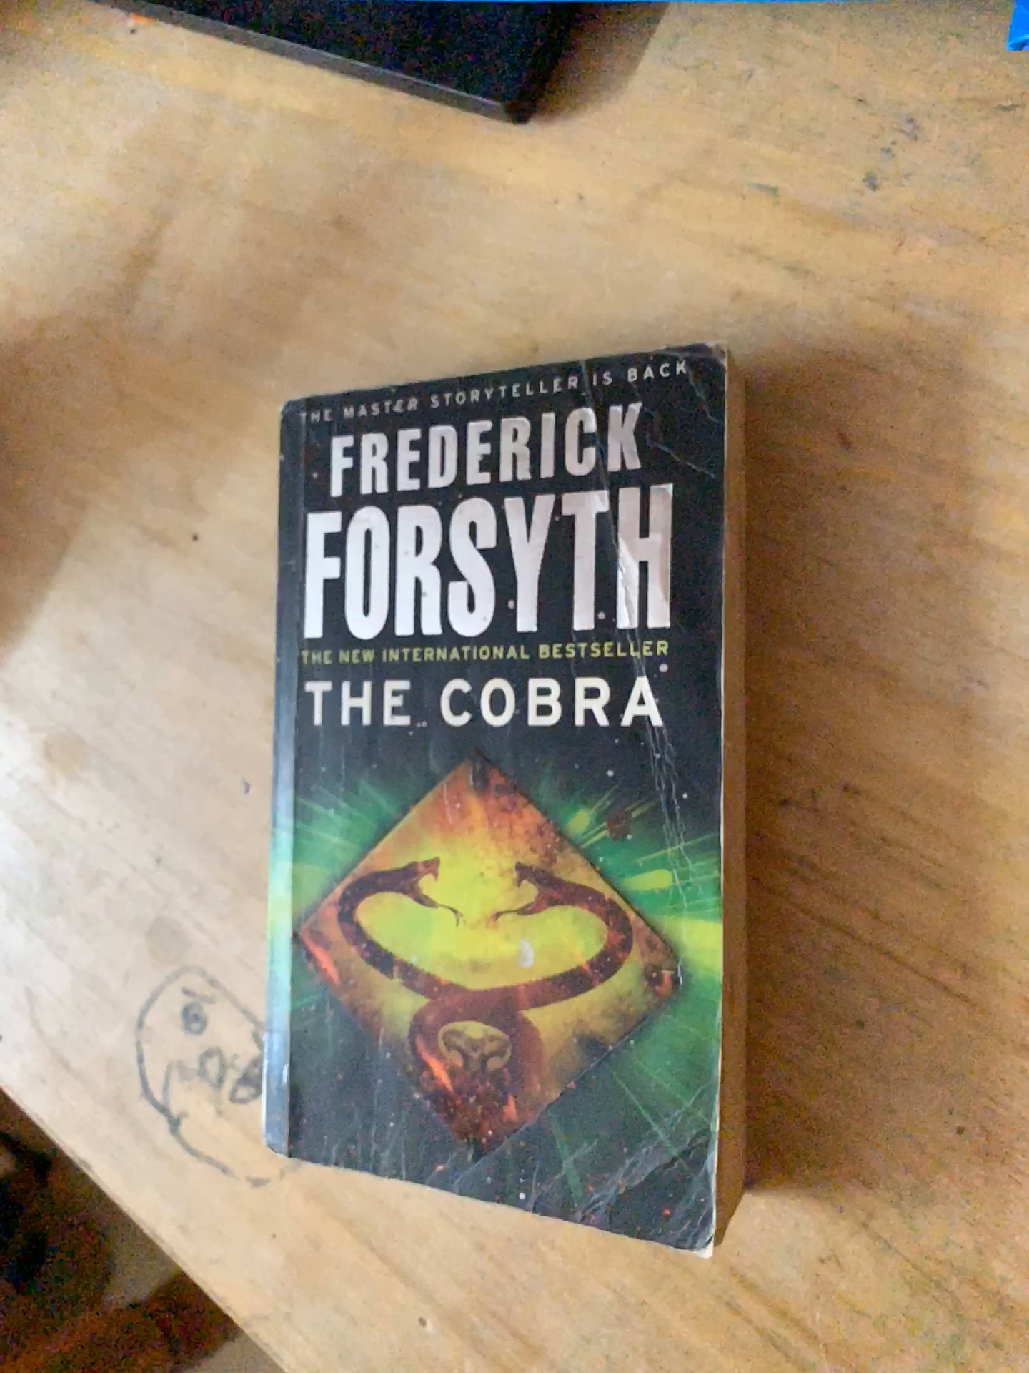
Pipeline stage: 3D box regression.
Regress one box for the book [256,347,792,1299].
[{"bbox_3d":[0.002,0.023,0.222,0.100,0.040,0.160,-1,86,25],"label":"book"}]
